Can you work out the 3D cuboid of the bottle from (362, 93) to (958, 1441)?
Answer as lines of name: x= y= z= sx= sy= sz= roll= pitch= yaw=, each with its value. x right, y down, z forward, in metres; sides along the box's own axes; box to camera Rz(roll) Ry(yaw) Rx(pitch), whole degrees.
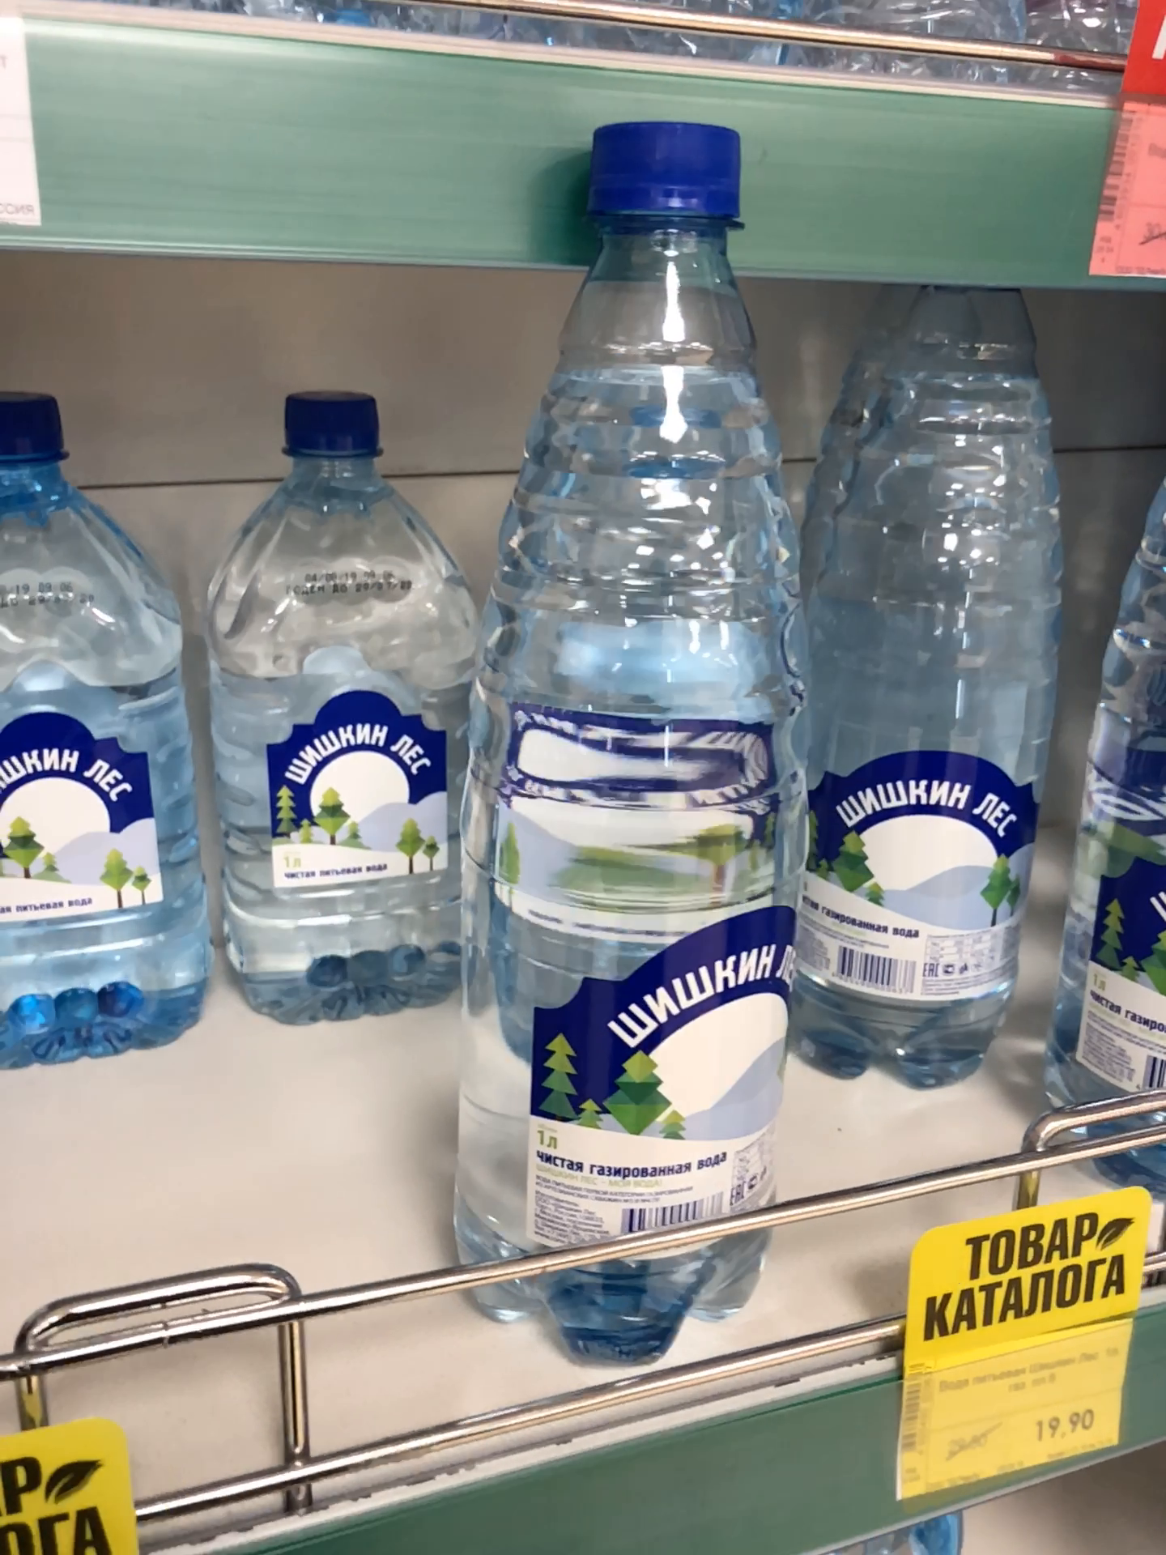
bottle: x=0.011 y=0.003 z=0.300 sx=0.090 sy=0.273 sz=0.080 roll=-9 pitch=21 yaw=-24
